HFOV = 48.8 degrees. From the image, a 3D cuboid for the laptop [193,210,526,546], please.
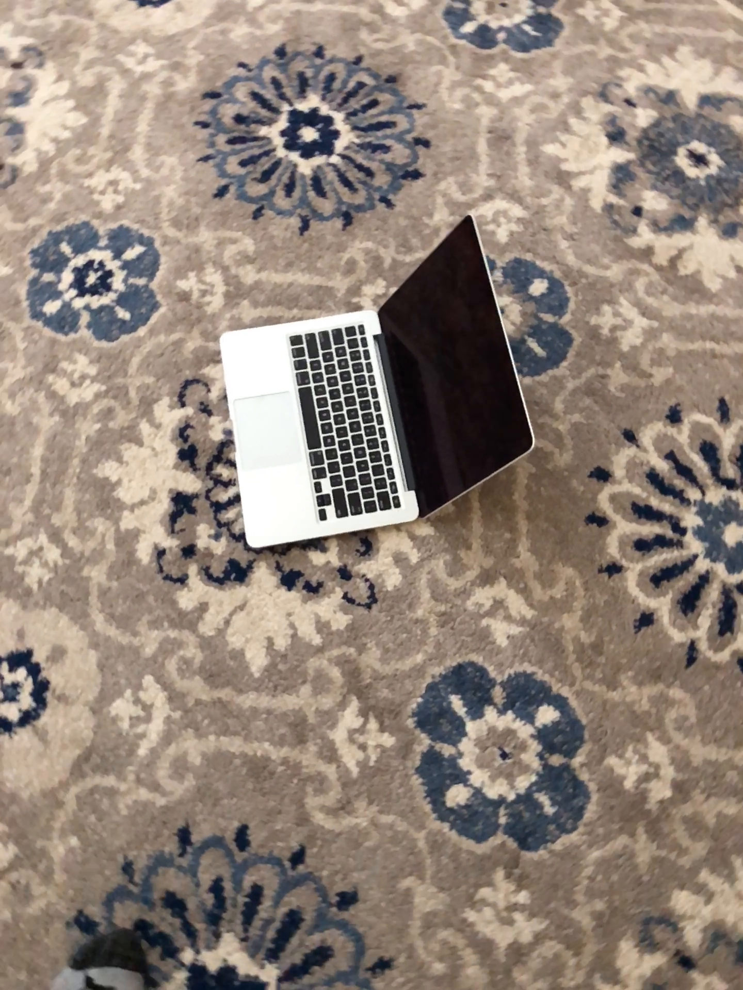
[{"bbox_3d":[-0.019,-0.136,0.977,0.321,0.171,0.300,-10,70,-5],"label":"laptop"}]
